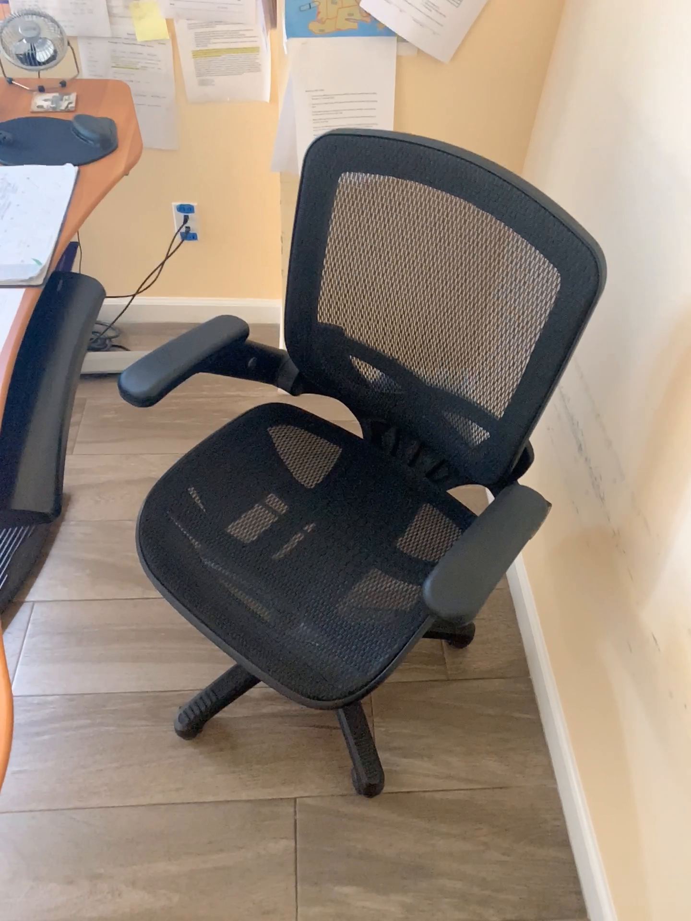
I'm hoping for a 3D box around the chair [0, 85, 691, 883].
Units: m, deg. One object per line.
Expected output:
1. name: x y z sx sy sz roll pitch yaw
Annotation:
1. chair: 0.002 0.051 1.160 0.640 0.869 0.775 32 55 19
